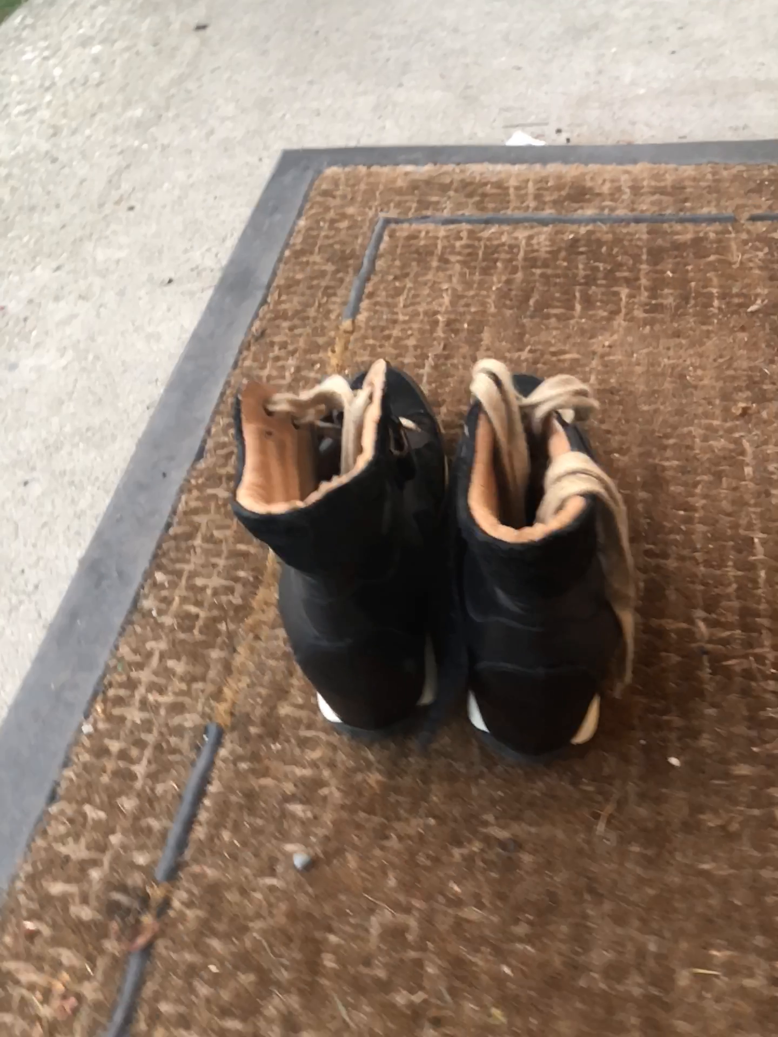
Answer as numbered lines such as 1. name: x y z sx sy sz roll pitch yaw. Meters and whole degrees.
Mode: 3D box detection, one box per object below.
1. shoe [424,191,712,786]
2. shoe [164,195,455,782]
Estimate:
1. shoe: 0.070 -0.017 0.406 0.090 0.159 0.231 -2 51 7
2. shoe: -0.017 -0.018 0.423 0.090 0.159 0.241 -2 51 7
